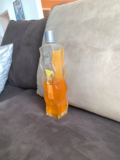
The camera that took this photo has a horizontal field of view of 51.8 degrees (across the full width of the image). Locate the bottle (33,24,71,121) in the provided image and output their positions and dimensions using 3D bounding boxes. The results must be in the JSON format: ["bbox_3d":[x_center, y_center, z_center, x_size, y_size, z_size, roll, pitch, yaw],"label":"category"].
[{"bbox_3d":[-0.025,-0.023,0.436,0.080,0.299,0.080,-3,11,1],"label":"bottle"}]
